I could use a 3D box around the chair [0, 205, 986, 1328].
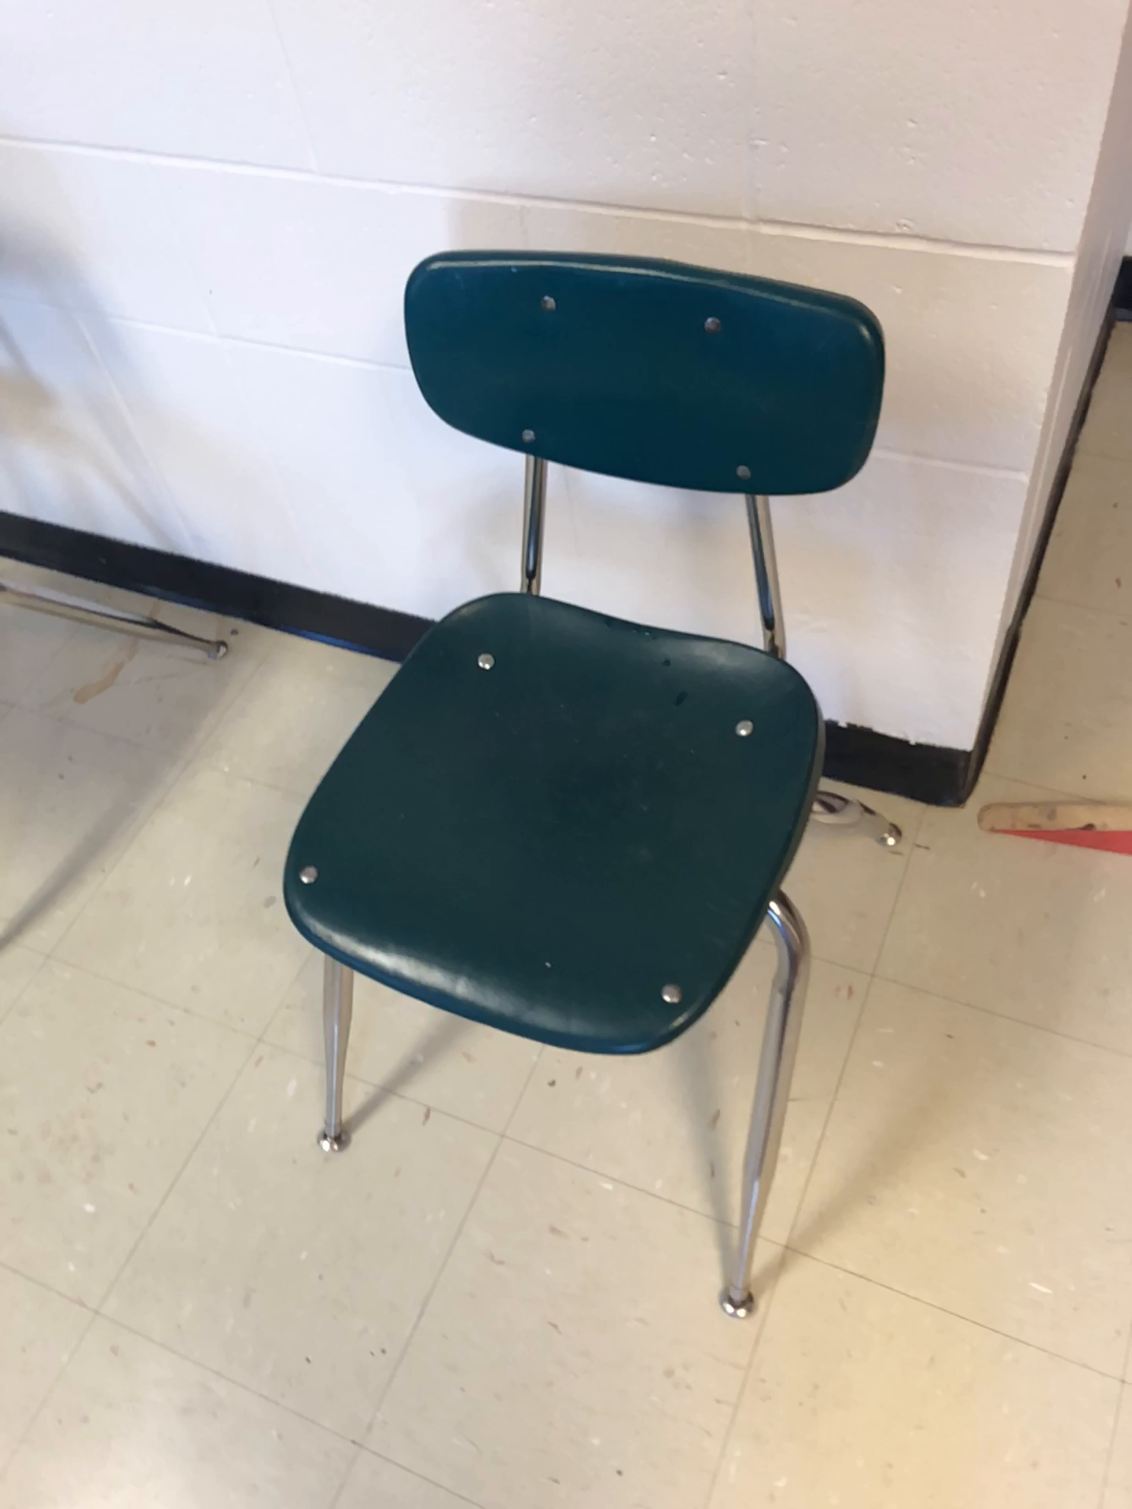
[{"bbox_3d":[0.014,0.026,1.086,0.481,0.696,0.593,15,56,20],"label":"chair"}]
